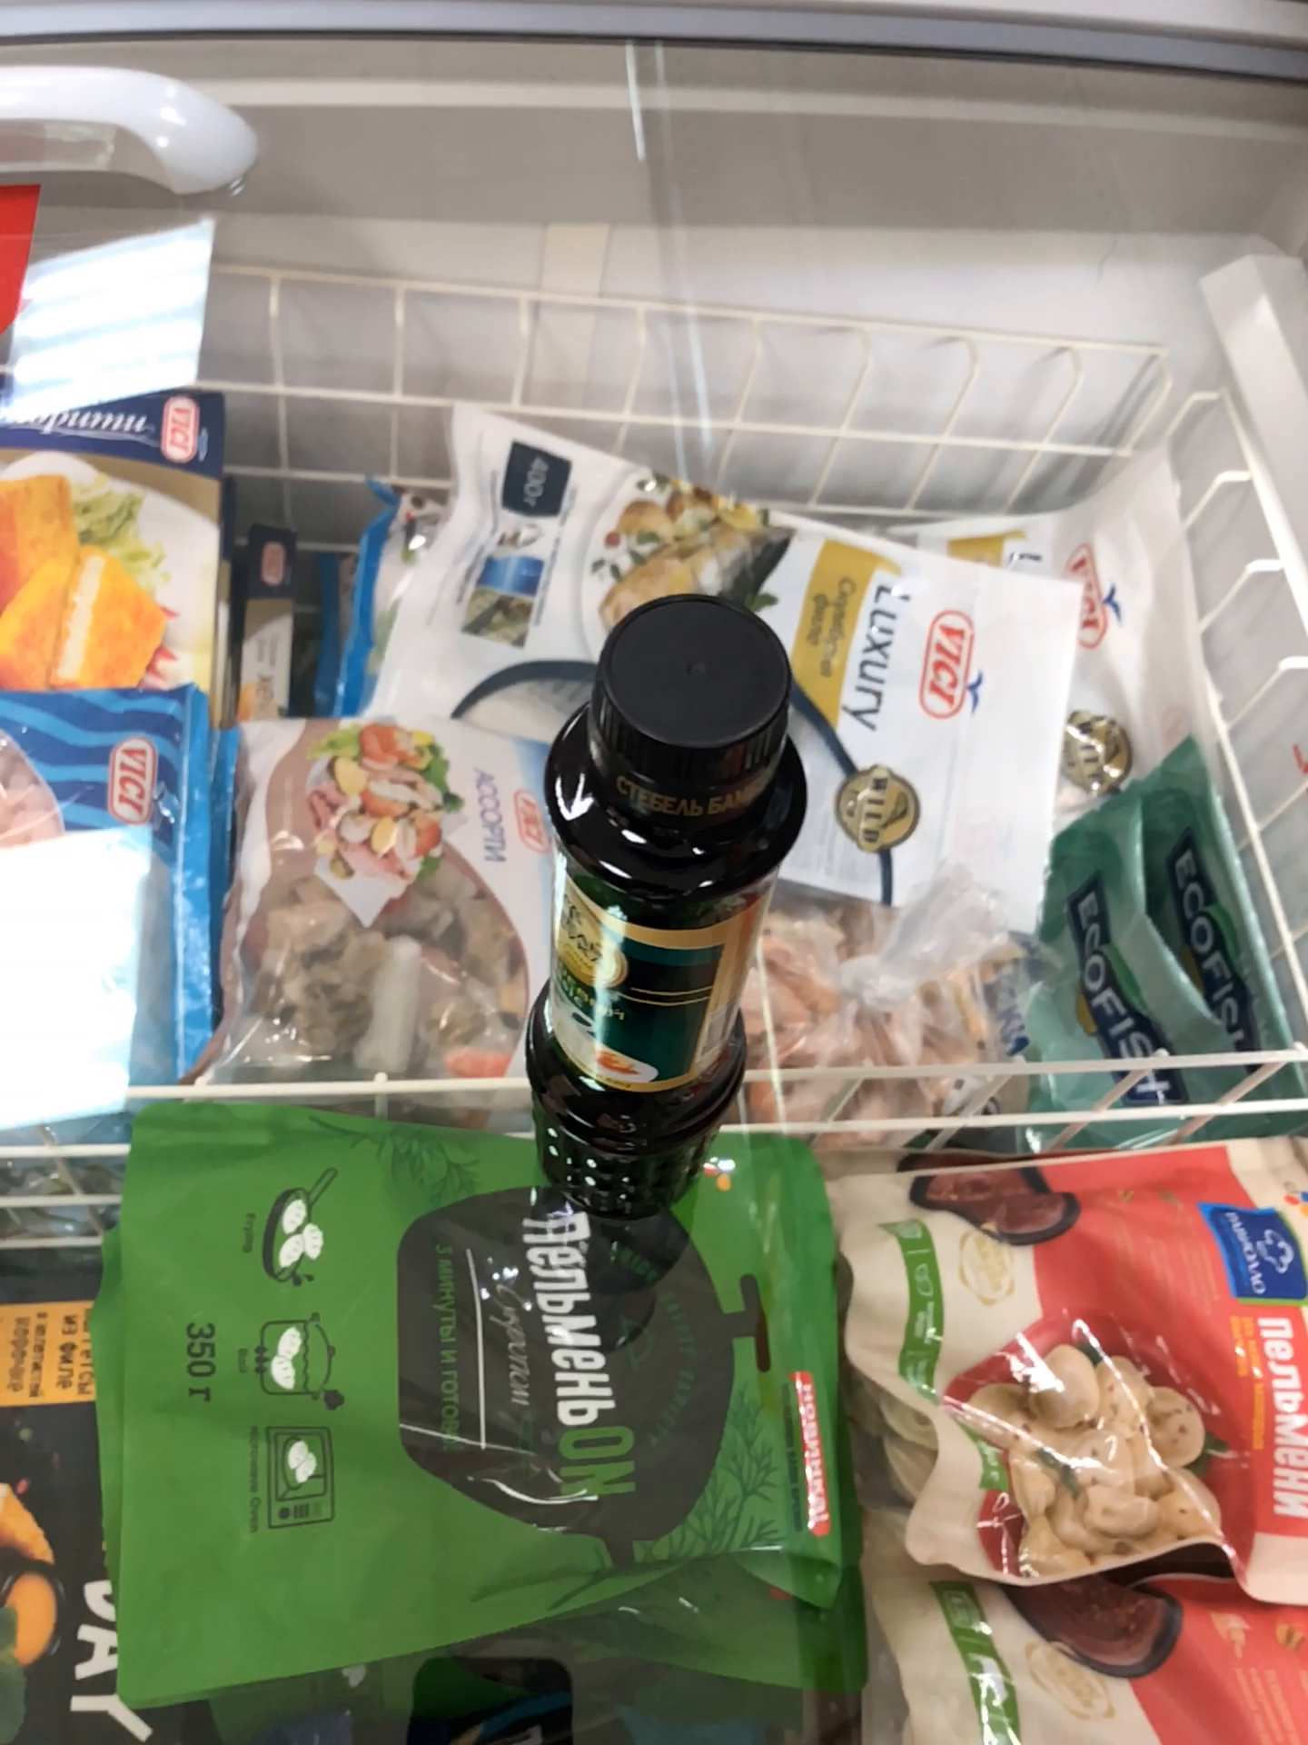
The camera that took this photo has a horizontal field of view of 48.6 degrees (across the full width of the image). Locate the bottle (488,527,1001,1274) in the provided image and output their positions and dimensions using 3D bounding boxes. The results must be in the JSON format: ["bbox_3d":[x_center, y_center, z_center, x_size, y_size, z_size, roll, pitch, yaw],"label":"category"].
[{"bbox_3d":[0.002,0.023,0.298,0.053,0.200,0.058,3,62,-6],"label":"bottle"}]
